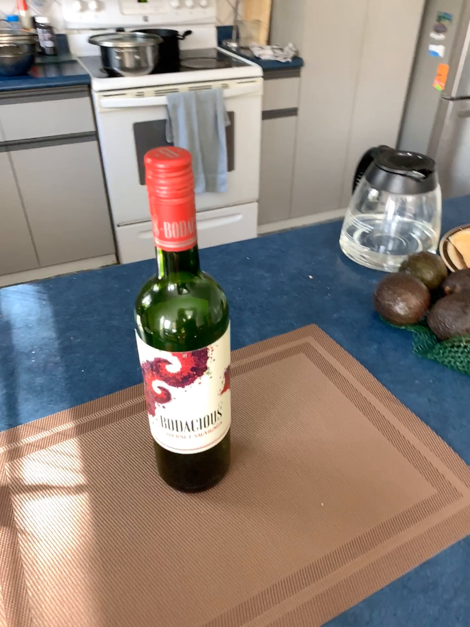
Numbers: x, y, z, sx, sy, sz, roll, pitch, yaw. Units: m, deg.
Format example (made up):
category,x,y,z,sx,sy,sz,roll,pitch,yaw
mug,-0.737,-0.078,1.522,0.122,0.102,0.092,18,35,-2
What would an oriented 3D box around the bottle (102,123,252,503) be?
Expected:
category,x,y,z,sx,sy,sz,roll,pitch,yaw
bottle,-0.038,0.019,0.374,0.080,0.297,0.081,0,36,0
